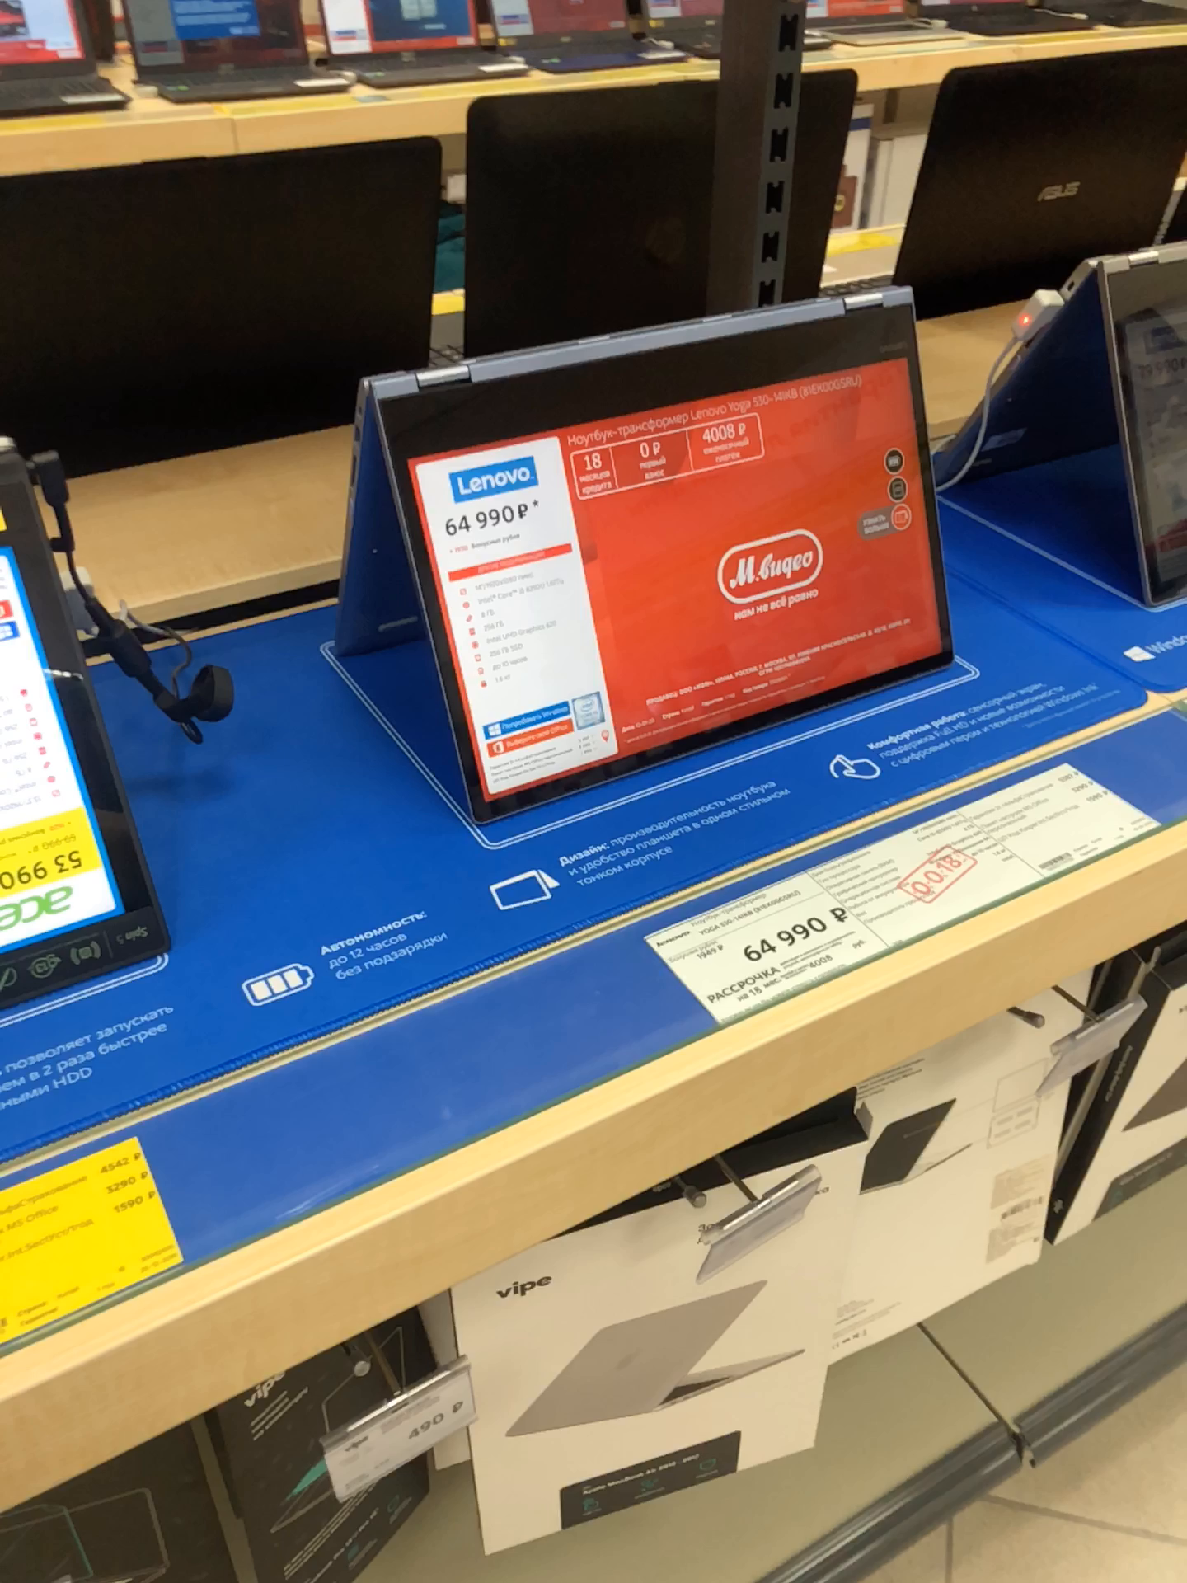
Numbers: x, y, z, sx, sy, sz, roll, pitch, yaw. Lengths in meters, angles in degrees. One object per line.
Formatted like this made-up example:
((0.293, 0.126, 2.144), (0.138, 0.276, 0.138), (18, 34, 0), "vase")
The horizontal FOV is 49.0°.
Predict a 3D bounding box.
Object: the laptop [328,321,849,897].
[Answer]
((-0.008, -0.101, 0.850), (0.306, 0.157, 0.221), (-19, 3, -29), "laptop")
